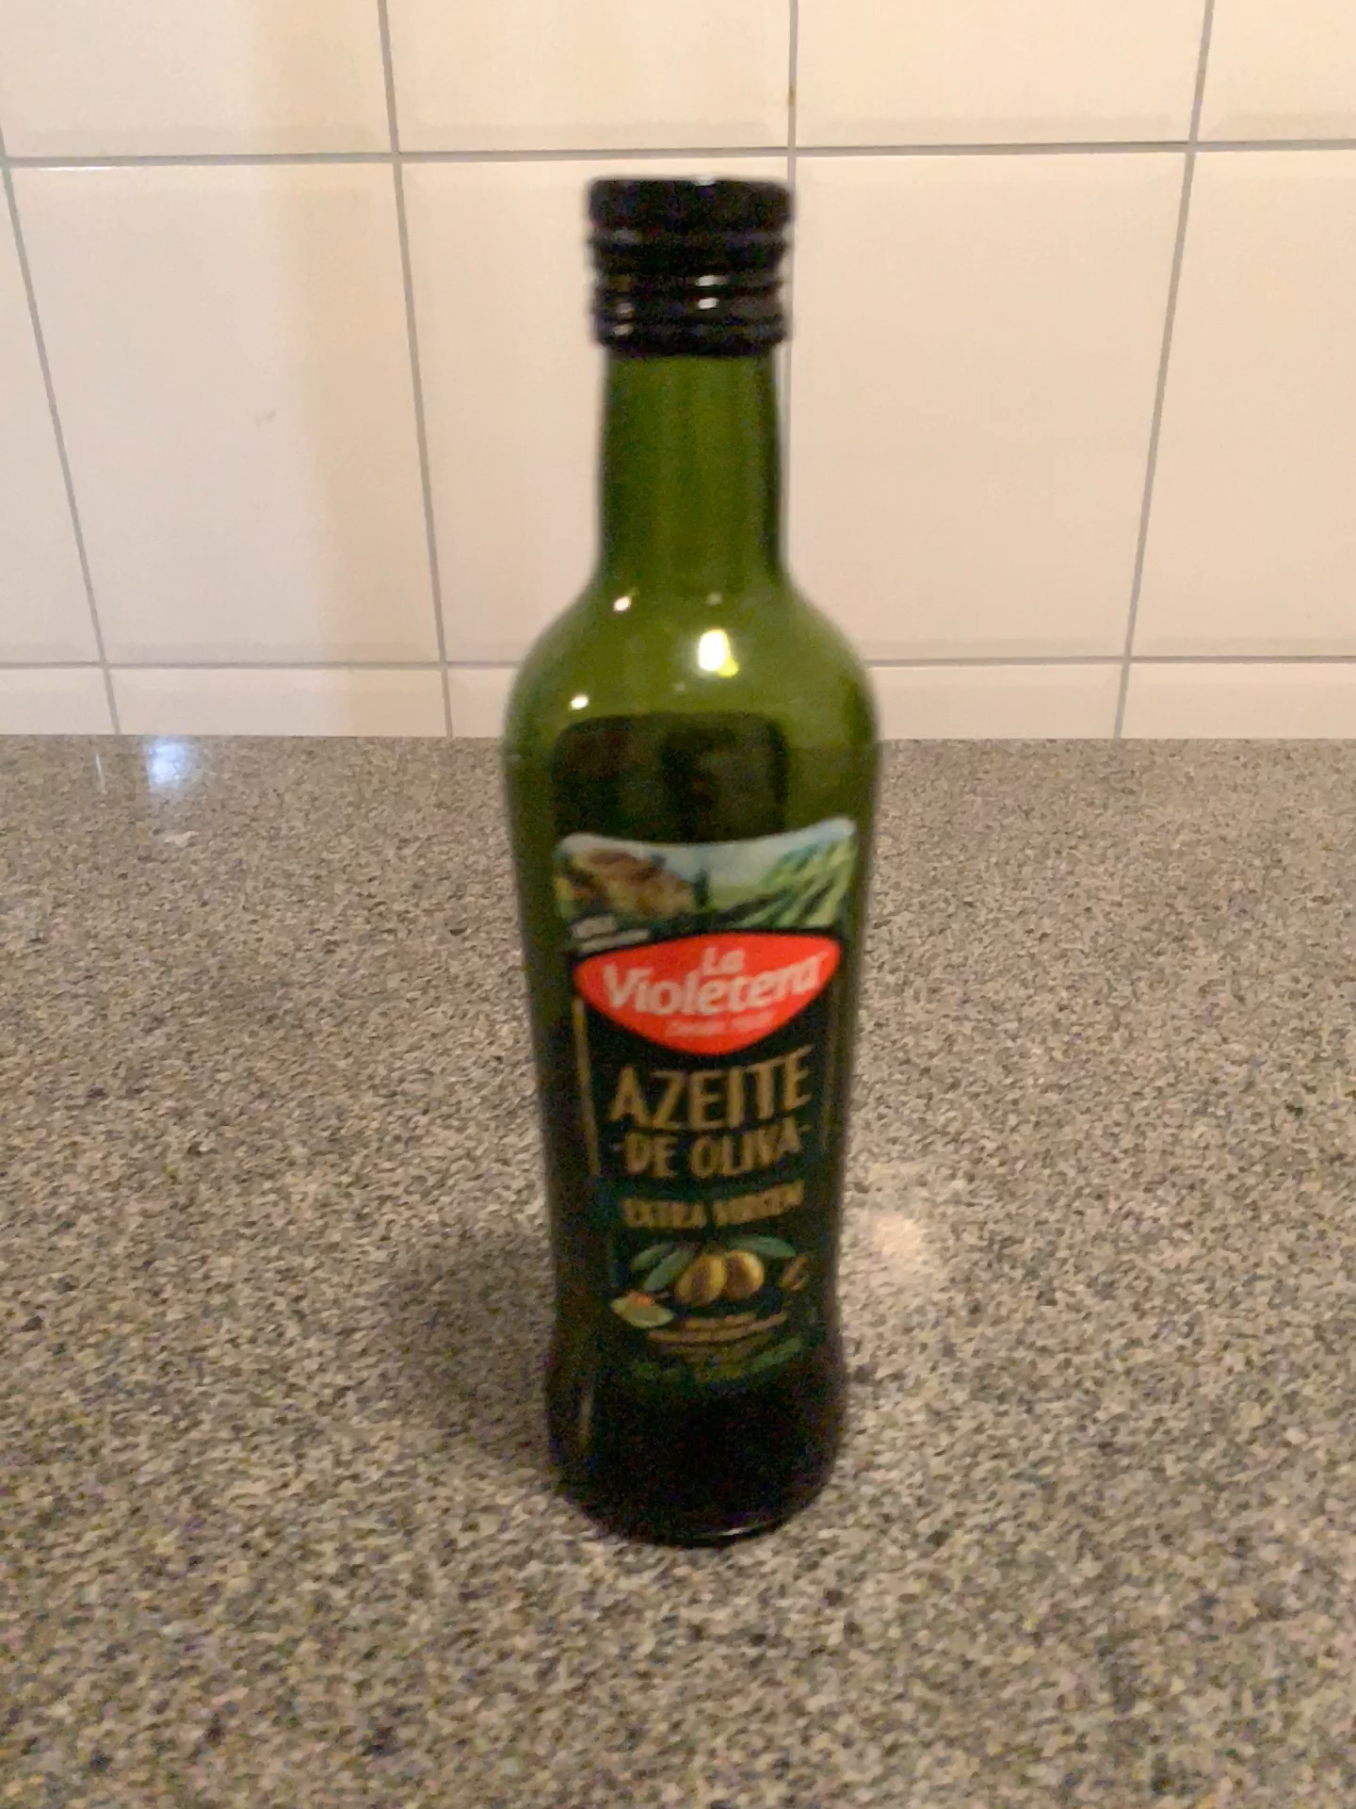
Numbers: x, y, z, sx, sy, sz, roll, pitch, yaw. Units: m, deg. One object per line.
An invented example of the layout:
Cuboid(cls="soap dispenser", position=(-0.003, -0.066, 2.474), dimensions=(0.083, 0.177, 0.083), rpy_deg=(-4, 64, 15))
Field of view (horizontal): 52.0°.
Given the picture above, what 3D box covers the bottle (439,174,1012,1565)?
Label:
Cuboid(cls="bottle", position=(0.005, 0.006, 0.248), dimensions=(0.070, 0.239, 0.060), rpy_deg=(-3, 26, -4))
